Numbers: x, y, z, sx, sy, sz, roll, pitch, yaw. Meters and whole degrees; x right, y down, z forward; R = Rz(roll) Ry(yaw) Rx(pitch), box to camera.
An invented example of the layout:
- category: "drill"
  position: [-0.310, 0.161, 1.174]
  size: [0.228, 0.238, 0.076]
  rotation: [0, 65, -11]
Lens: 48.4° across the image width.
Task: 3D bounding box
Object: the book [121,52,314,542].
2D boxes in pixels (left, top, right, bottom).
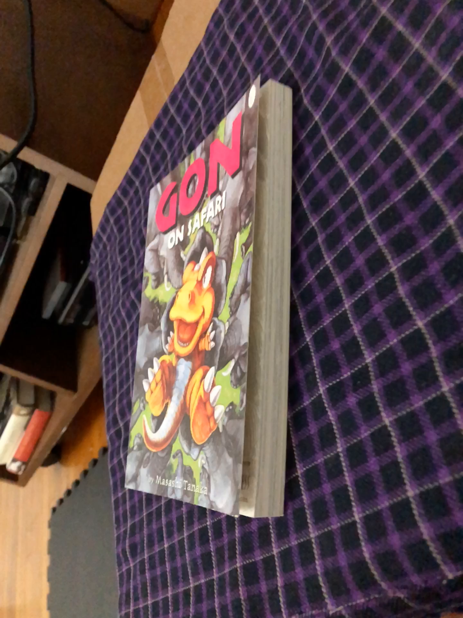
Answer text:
- category: "book"
  position: [-0.013, -0.002, 0.279]
  size: [0.151, 0.020, 0.210]
  rotation: [-20, 63, 56]
